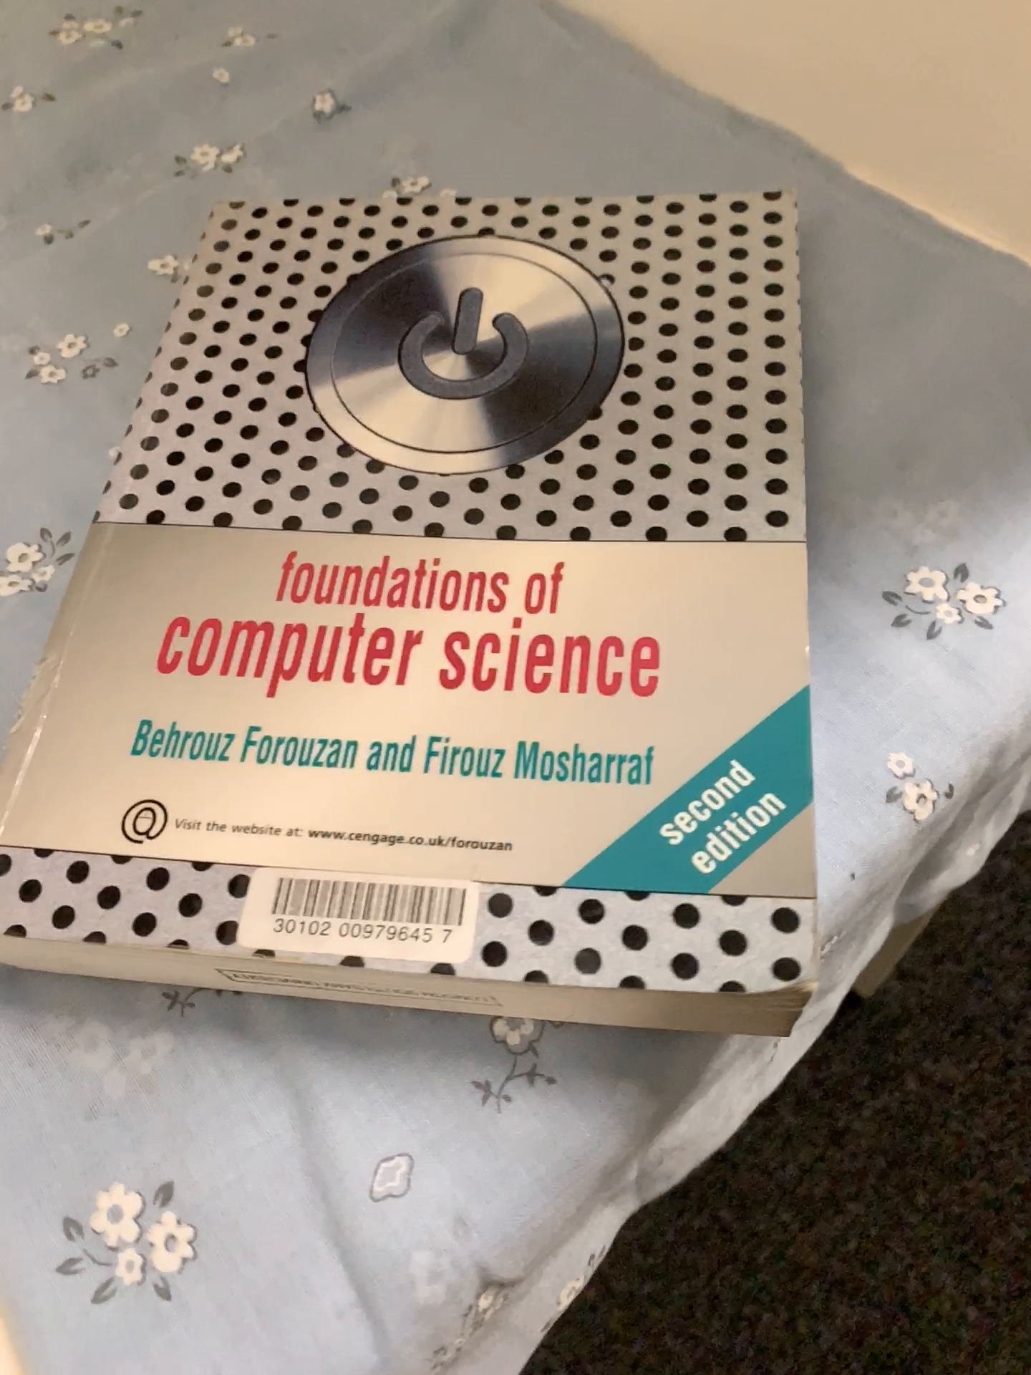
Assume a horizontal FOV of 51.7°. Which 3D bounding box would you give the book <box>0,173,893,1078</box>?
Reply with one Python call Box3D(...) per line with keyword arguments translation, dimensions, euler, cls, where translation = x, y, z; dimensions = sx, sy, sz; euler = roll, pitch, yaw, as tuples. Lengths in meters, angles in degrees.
Box3D(translation=(-0.012, -0.039, 0.281), dimensions=(0.191, 0.040, 0.247), euler=(3, 60, 8), cls="book")
